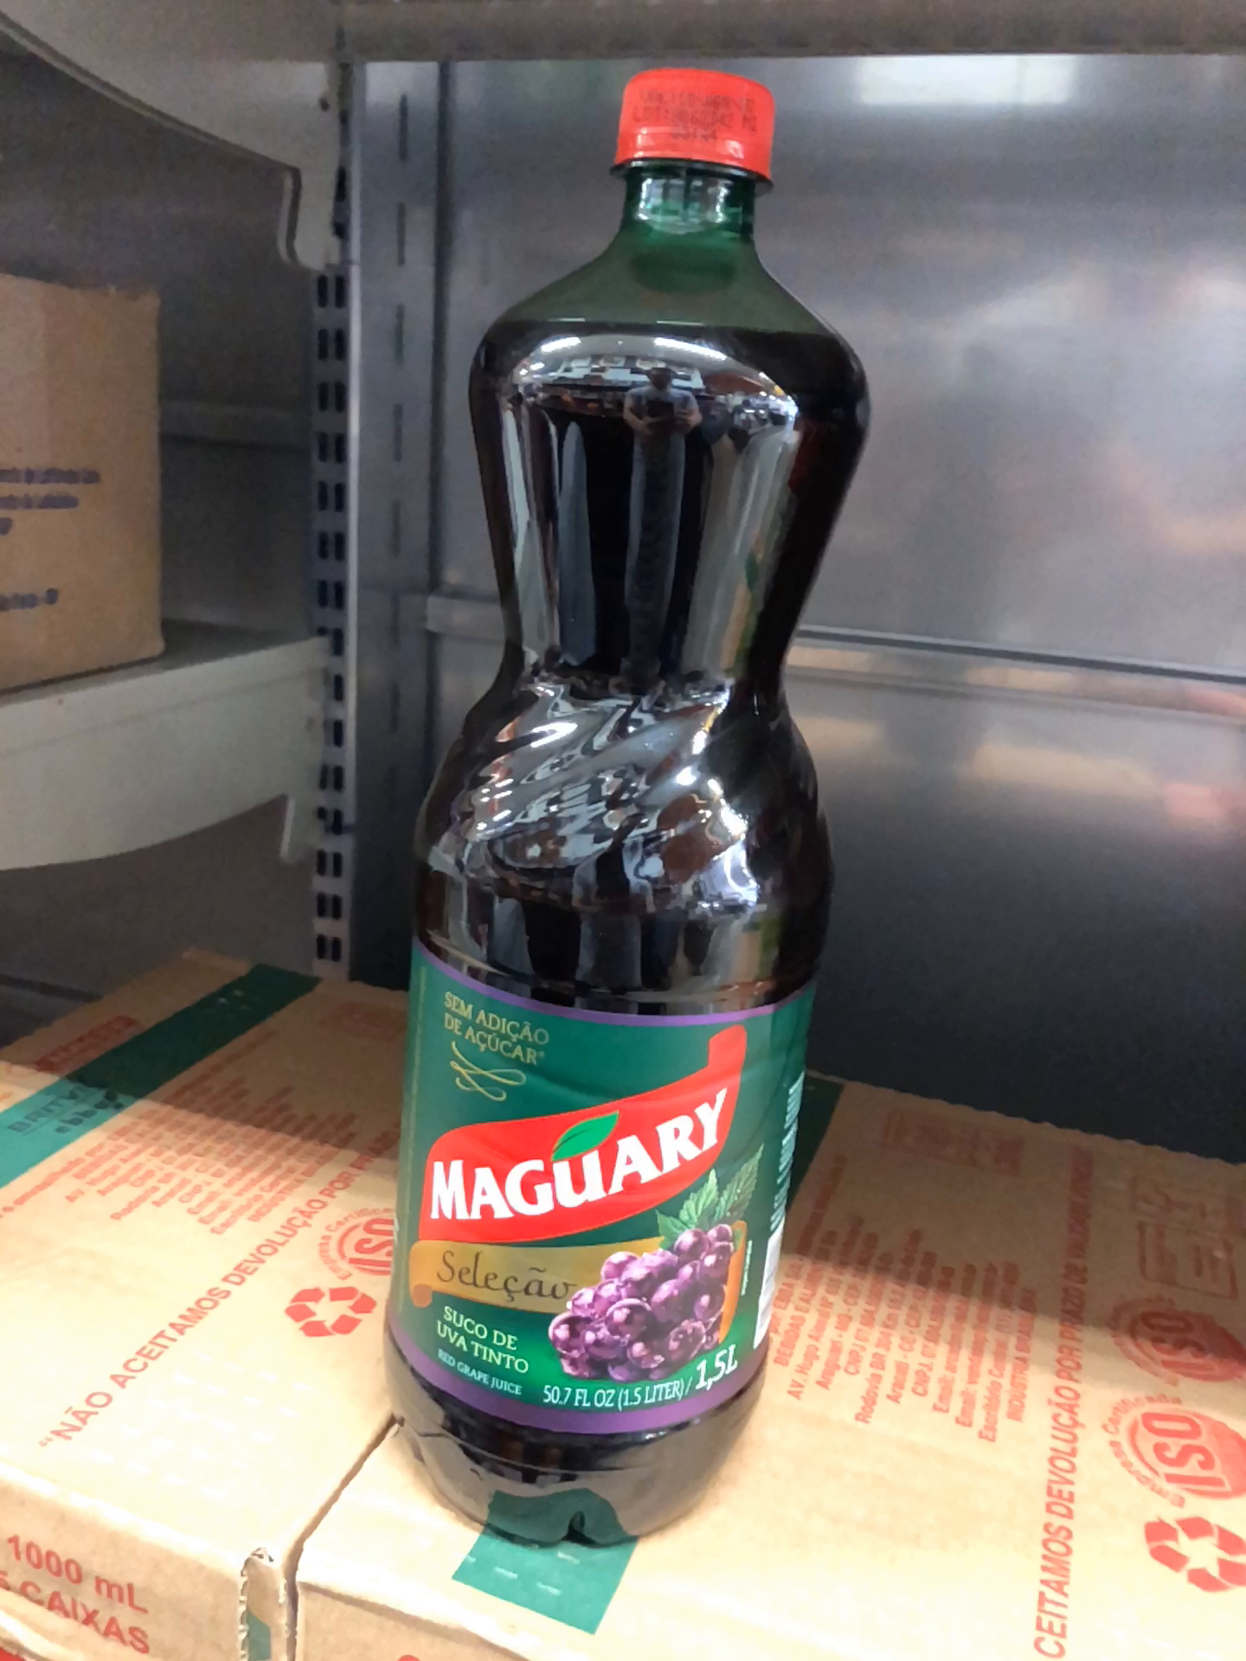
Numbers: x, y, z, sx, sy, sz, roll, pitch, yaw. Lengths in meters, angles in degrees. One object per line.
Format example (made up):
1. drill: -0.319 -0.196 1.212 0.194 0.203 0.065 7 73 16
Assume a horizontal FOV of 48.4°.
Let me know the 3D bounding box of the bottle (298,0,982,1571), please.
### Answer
1. bottle: -0.005 0.001 0.292 0.100 0.289 0.080 5 15 1
